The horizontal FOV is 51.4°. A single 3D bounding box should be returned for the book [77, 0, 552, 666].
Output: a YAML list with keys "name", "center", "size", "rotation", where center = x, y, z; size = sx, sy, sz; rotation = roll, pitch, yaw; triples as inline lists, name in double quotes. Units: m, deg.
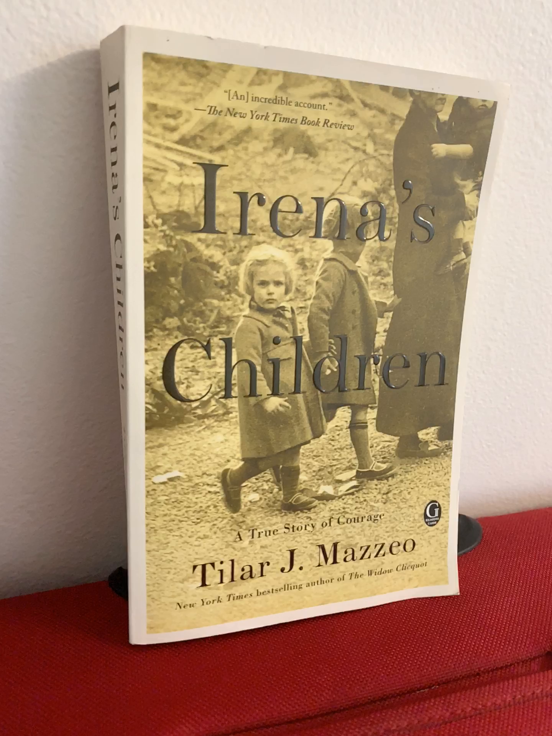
- name: "book"
  center: [0.018, -0.005, 0.231]
  size: [0.170, 0.229, 0.030]
  rotation: [-3, 14, -15]
